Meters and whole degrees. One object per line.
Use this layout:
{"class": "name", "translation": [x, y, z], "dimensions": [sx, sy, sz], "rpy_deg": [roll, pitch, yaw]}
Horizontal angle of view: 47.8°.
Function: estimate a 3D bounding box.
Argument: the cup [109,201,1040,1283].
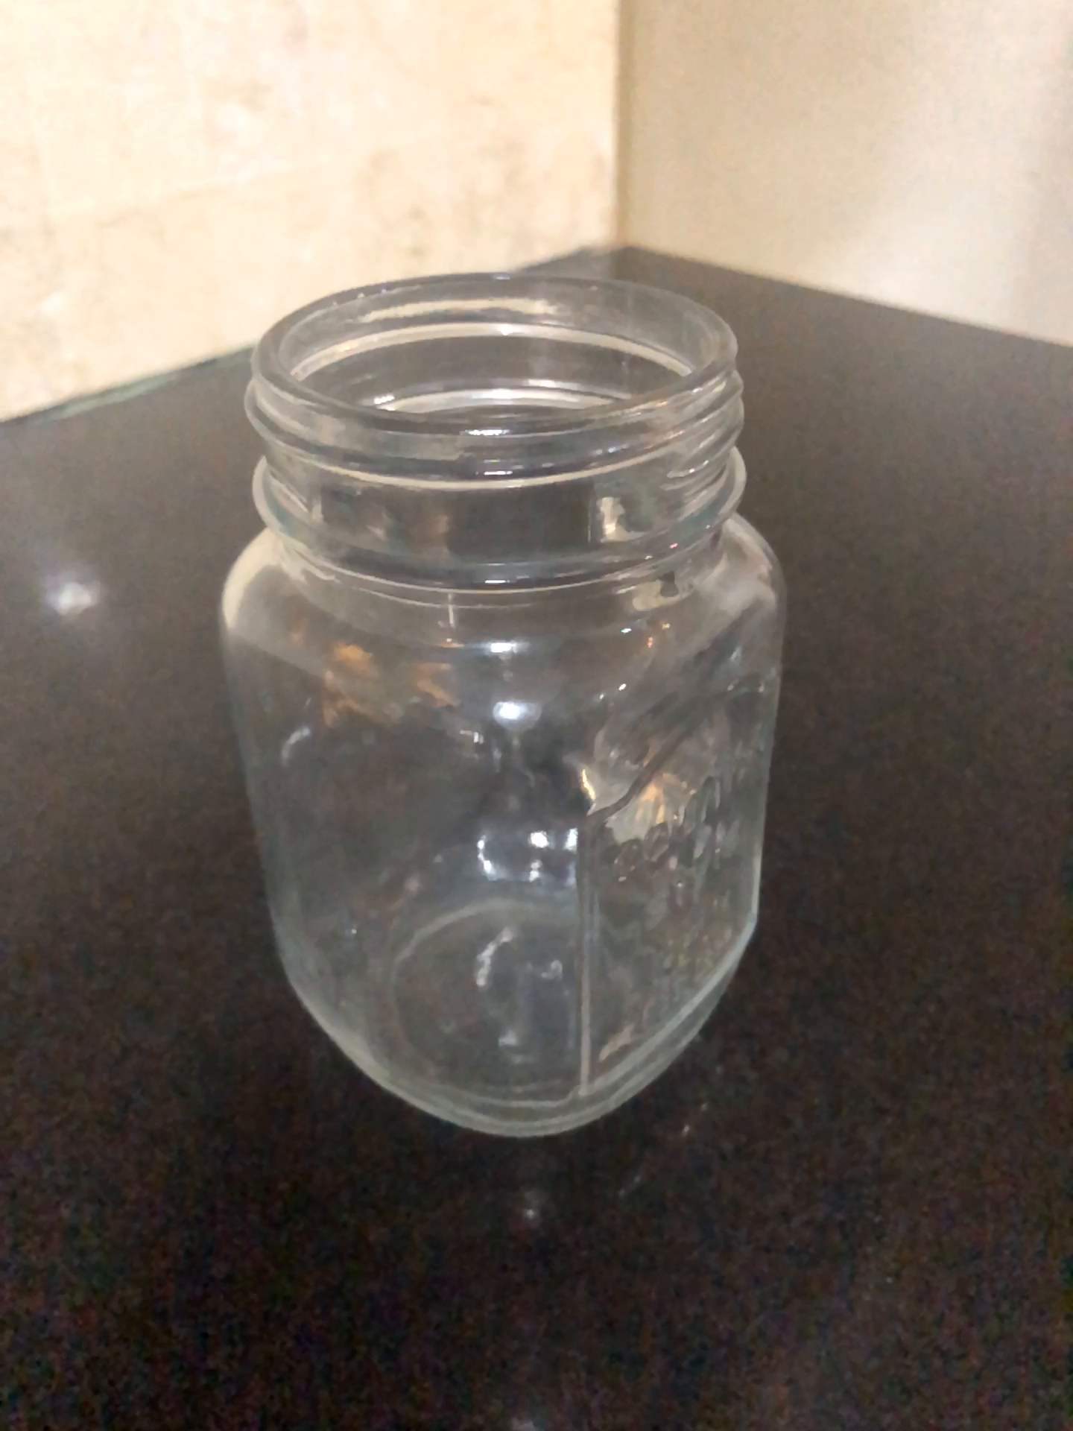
{"class": "cup", "translation": [0.011, -0.004, 0.207], "dimensions": [0.080, 0.129, 0.110], "rpy_deg": [25, 42, 33]}
